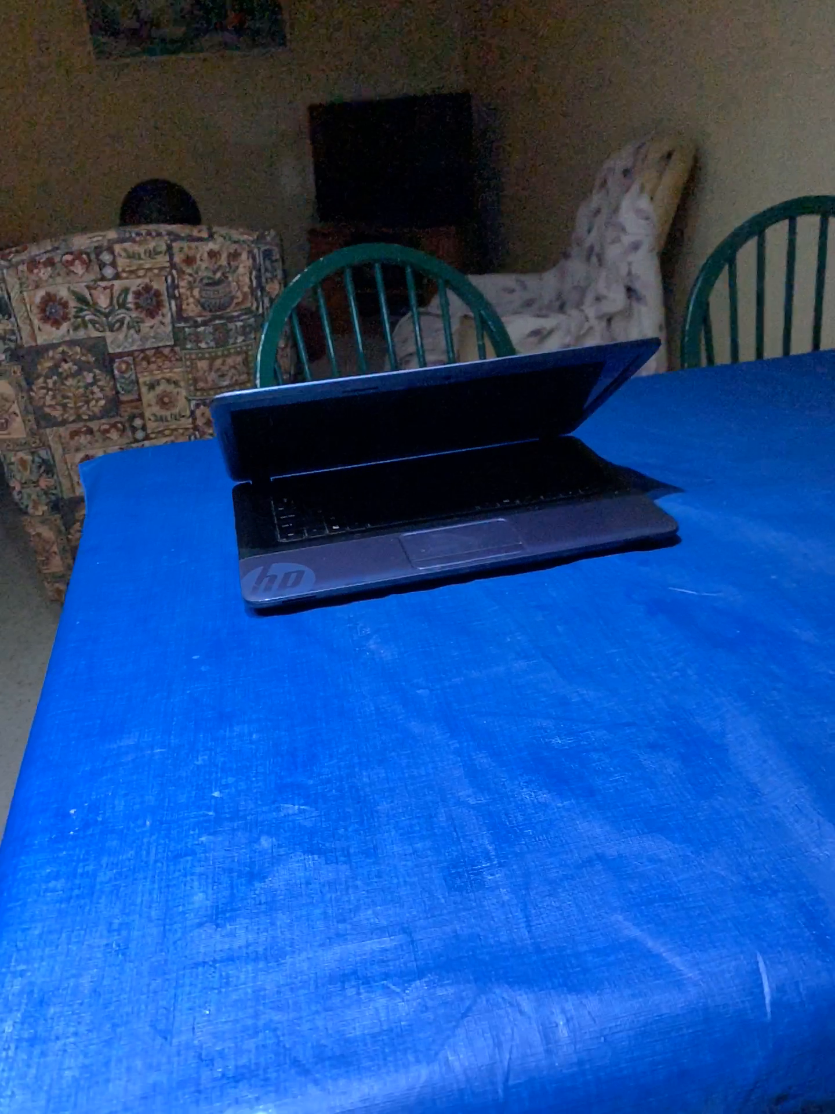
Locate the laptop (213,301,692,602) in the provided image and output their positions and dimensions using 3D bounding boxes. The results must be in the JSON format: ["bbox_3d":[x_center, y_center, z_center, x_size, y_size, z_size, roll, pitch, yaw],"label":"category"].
[{"bbox_3d":[0.014,-0.113,0.770,0.362,0.141,0.241,-10,28,-9],"label":"laptop"}]
